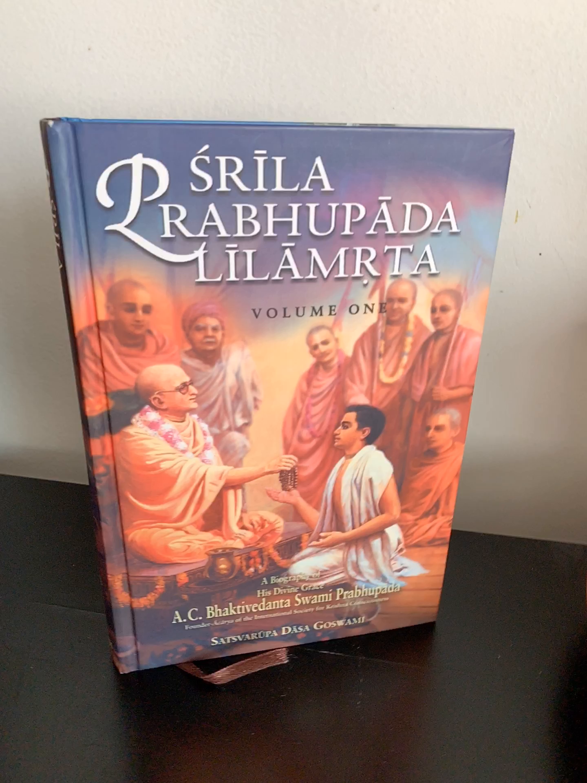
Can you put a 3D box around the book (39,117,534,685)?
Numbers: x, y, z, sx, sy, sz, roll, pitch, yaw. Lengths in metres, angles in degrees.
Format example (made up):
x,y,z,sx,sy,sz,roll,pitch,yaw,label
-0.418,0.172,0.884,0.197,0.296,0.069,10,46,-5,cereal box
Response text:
x,y,z,sx,sy,sz,roll,pitch,yaw,label
-0.002,0.015,0.256,0.162,0.233,0.030,-4,25,-11,book
